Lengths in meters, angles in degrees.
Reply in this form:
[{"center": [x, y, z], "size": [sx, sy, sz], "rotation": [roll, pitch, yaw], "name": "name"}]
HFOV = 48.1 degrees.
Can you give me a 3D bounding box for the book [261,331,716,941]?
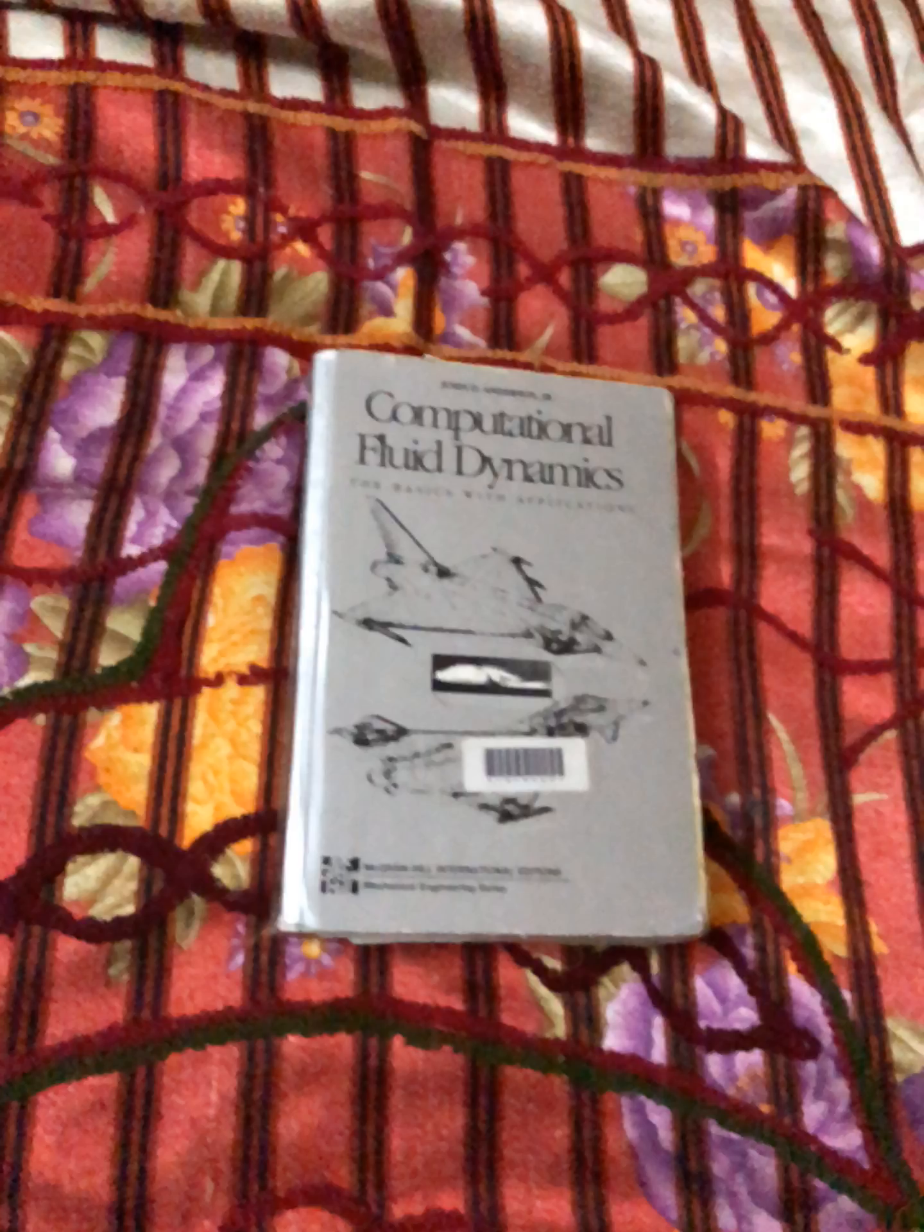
[{"center": [0.008, 0.008, 0.408], "size": [0.158, 0.047, 0.229], "rotation": [3, 73, -10], "name": "book"}]
